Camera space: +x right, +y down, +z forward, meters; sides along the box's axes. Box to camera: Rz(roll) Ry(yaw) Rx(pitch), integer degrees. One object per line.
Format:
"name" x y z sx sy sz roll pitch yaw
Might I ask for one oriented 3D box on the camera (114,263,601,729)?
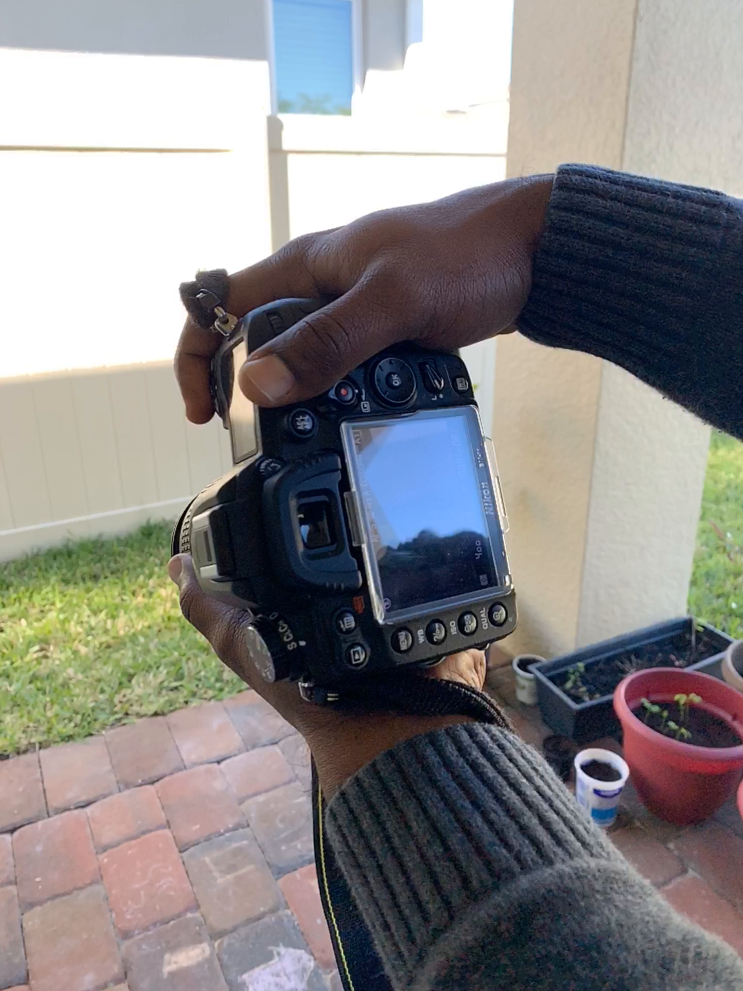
"camera" -0.021 -0.002 0.280 0.090 0.110 0.170 -12 2 -29
